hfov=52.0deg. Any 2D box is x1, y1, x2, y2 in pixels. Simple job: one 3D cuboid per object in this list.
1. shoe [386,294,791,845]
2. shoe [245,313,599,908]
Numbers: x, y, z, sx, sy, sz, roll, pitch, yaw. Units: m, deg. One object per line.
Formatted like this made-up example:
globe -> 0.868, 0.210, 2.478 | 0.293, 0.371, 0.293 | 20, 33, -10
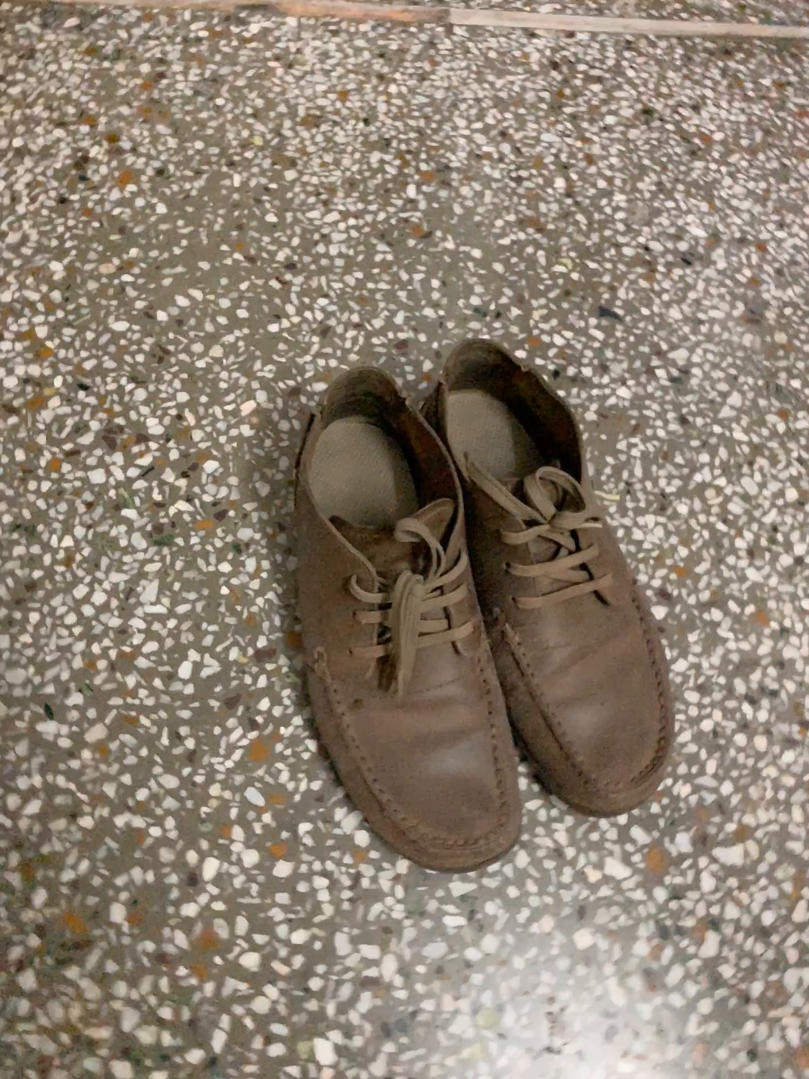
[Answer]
shoe -> 0.088, 0.014, 0.486 | 0.100, 0.100, 0.290 | -16, 71, -12
shoe -> -0.005, 0.033, 0.455 | 0.100, 0.100, 0.290 | -12, 70, -11
